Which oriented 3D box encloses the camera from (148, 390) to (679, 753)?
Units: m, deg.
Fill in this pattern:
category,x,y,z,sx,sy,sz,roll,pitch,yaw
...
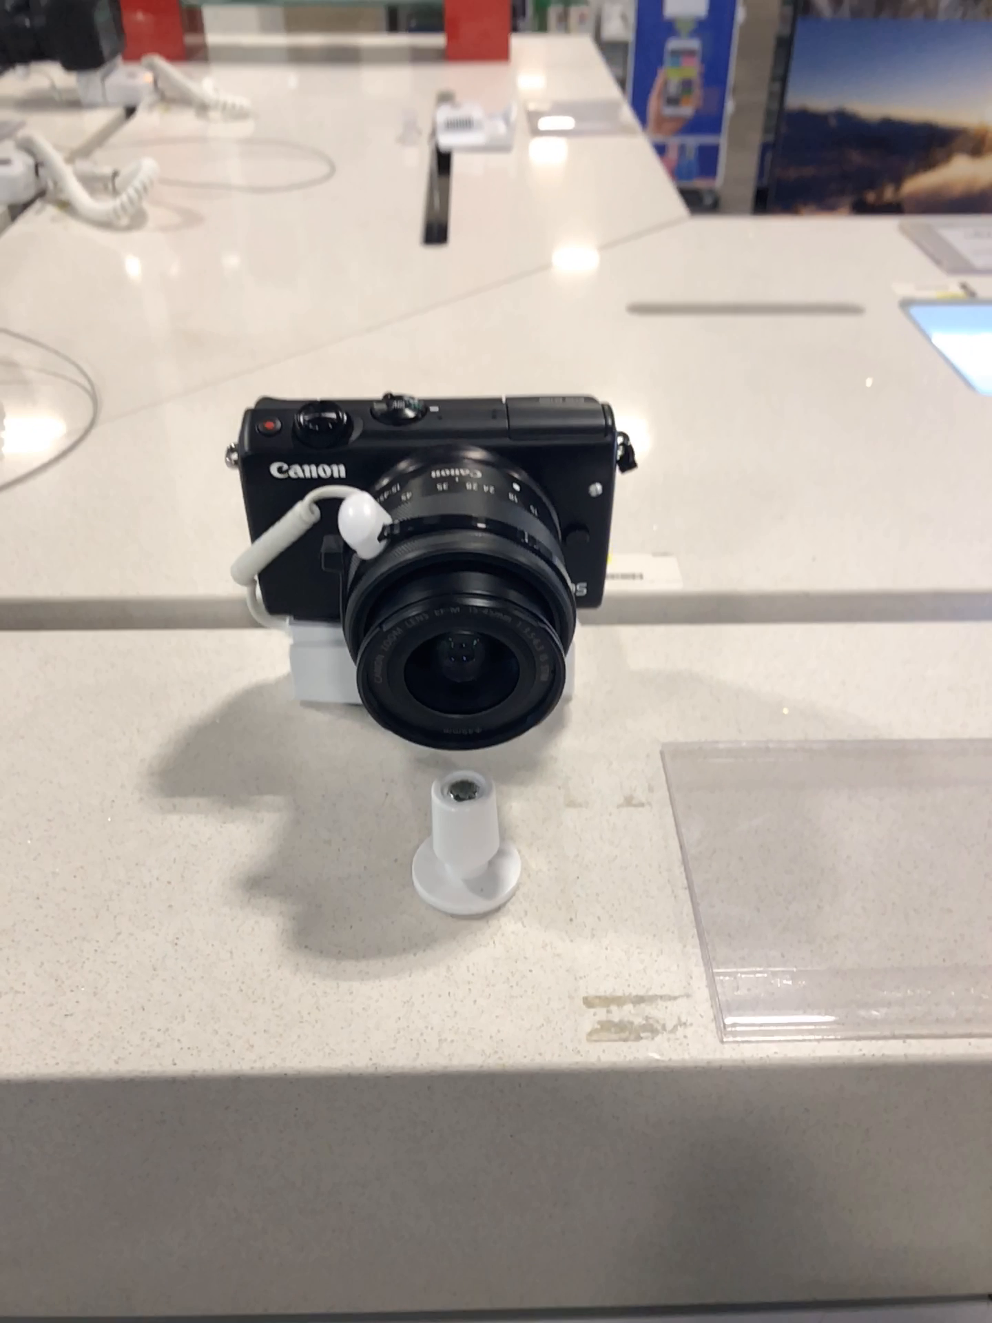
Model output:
category,x,y,z,sx,sy,sz,roll,pitch,yaw
camera,-0.019,-0.028,0.302,0.120,0.060,0.091,0,37,0
